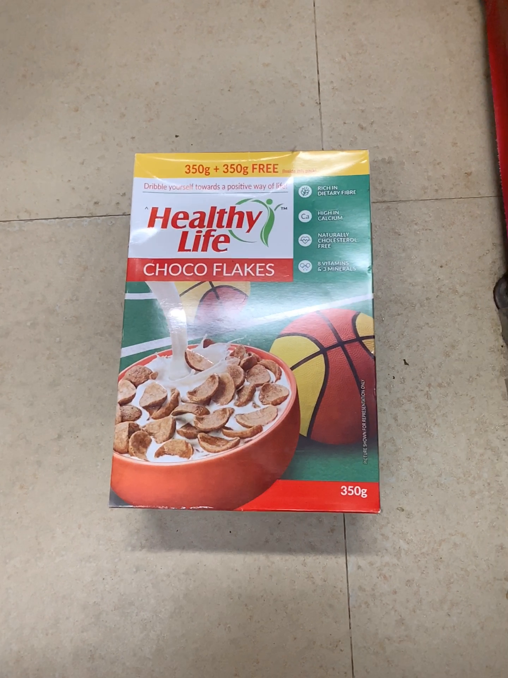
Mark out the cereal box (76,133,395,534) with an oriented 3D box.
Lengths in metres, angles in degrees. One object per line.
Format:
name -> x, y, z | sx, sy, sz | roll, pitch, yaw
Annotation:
cereal box -> -0.008, -0.004, 0.412 | 0.200, 0.110, 0.280 | 0, 76, 4
